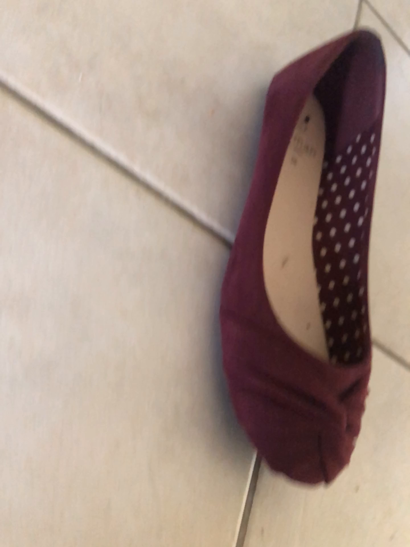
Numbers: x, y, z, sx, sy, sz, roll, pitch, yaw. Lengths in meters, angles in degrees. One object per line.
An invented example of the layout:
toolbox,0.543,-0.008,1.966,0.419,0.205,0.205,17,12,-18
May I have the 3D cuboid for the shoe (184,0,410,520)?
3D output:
shoe,0.061,-0.015,0.251,0.082,0.079,0.251,19,67,-27
